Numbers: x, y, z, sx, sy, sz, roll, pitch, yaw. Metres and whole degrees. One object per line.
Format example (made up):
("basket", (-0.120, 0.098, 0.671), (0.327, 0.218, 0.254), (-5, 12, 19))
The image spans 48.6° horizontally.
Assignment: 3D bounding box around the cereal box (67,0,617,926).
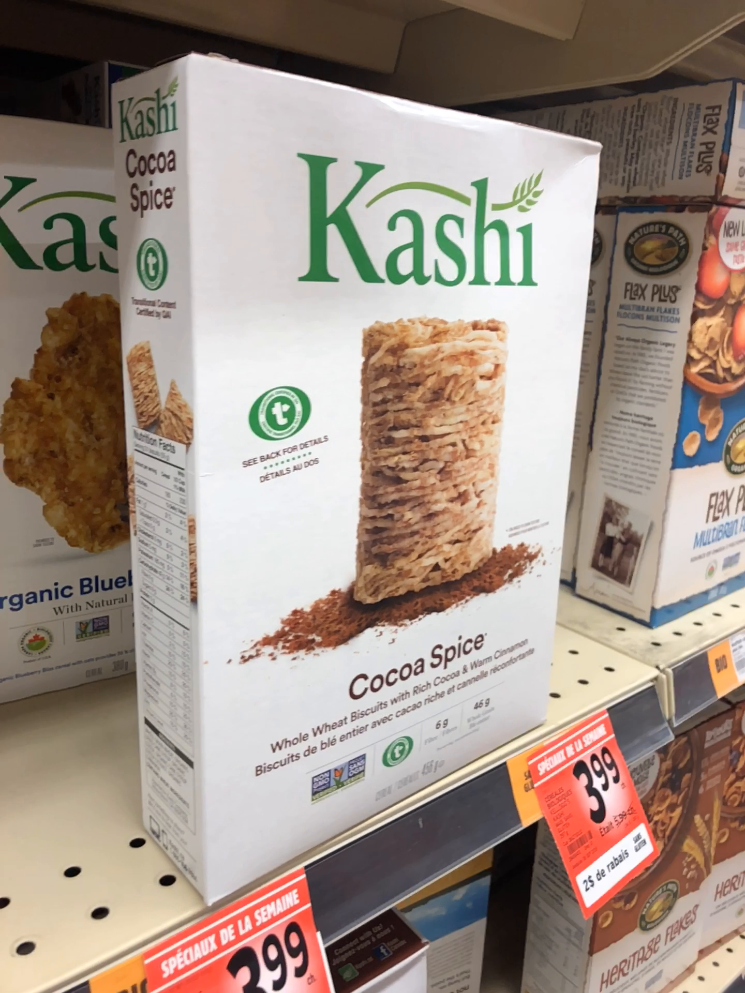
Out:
("cereal box", (0.001, -0.014, 0.333), (0.211, 0.279, 0.060), (-12, 20, -42))
